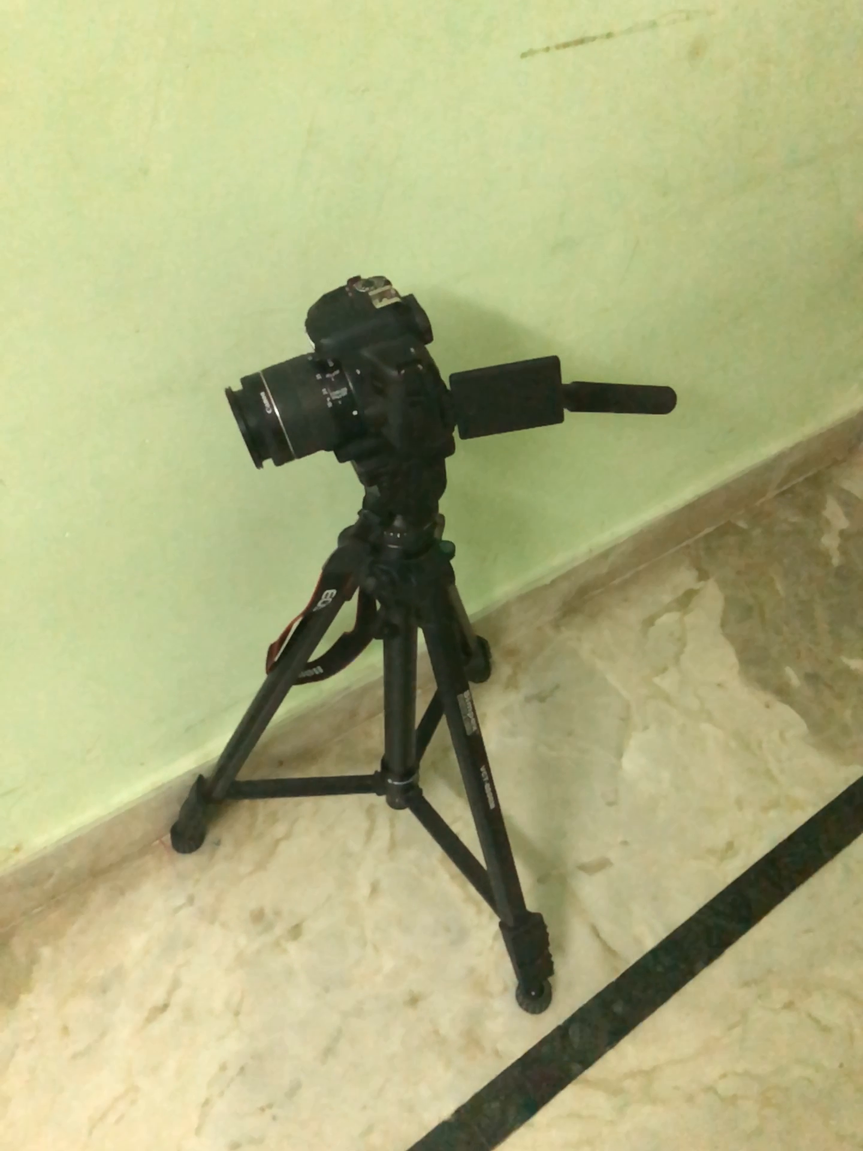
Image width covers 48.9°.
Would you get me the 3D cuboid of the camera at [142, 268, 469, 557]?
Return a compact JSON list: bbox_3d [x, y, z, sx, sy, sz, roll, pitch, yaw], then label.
[{"bbox_3d":[-0.089,-0.123,0.695,0.190,0.099,0.131,-23,50,-15],"label":"camera"}]
